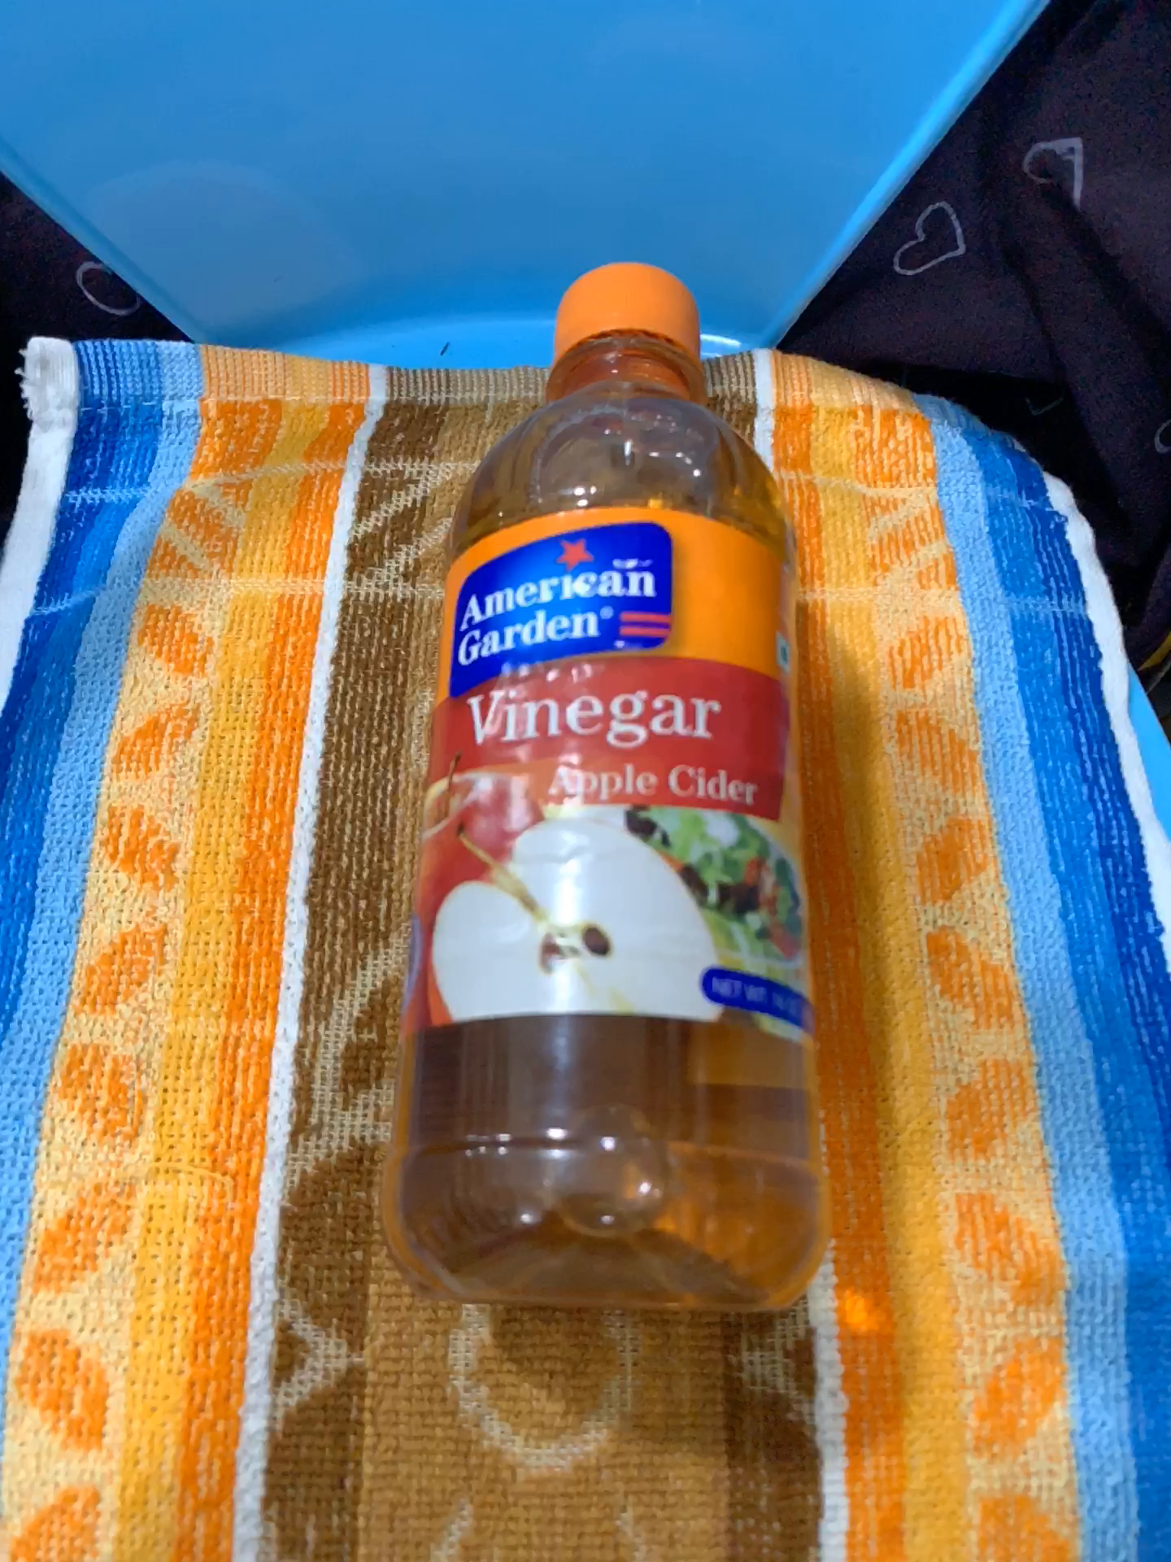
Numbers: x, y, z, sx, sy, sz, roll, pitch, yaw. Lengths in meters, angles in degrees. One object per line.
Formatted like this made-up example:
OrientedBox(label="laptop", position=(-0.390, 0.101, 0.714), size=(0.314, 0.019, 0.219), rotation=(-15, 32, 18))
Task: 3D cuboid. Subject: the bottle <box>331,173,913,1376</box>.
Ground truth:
OrientedBox(label="bottle", position=(0.014, -0.007, 0.198), size=(0.070, 0.050, 0.180), rotation=(-2, 68, 14))
